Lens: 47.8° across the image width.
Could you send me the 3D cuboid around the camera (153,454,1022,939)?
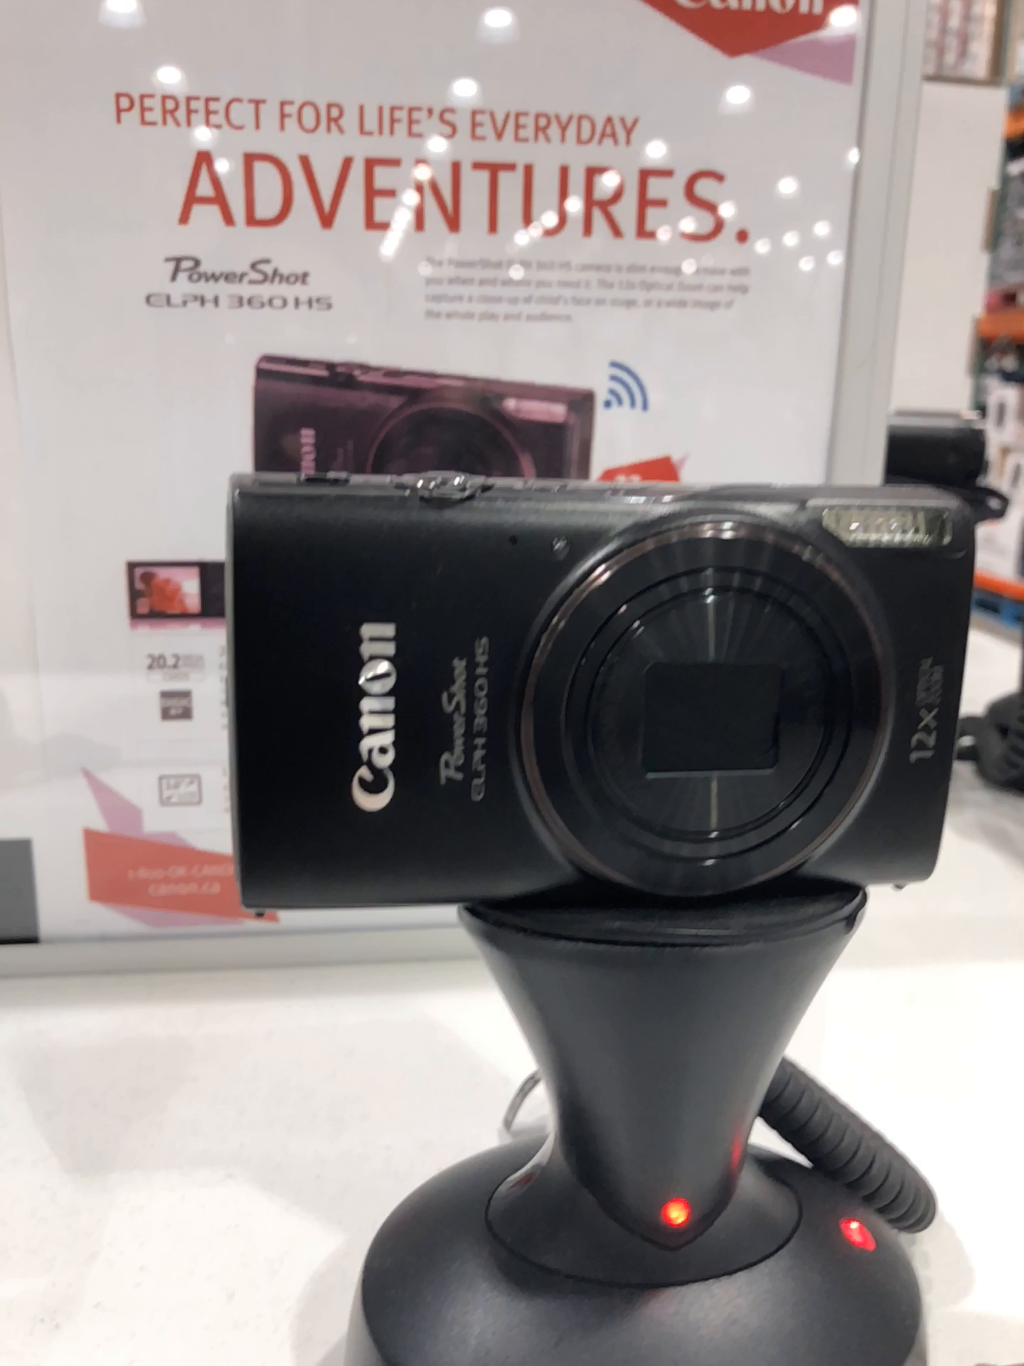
[{"bbox_3d":[0.009,0.000,0.165,0.110,0.060,0.030,0,14,-8],"label":"camera"}]
